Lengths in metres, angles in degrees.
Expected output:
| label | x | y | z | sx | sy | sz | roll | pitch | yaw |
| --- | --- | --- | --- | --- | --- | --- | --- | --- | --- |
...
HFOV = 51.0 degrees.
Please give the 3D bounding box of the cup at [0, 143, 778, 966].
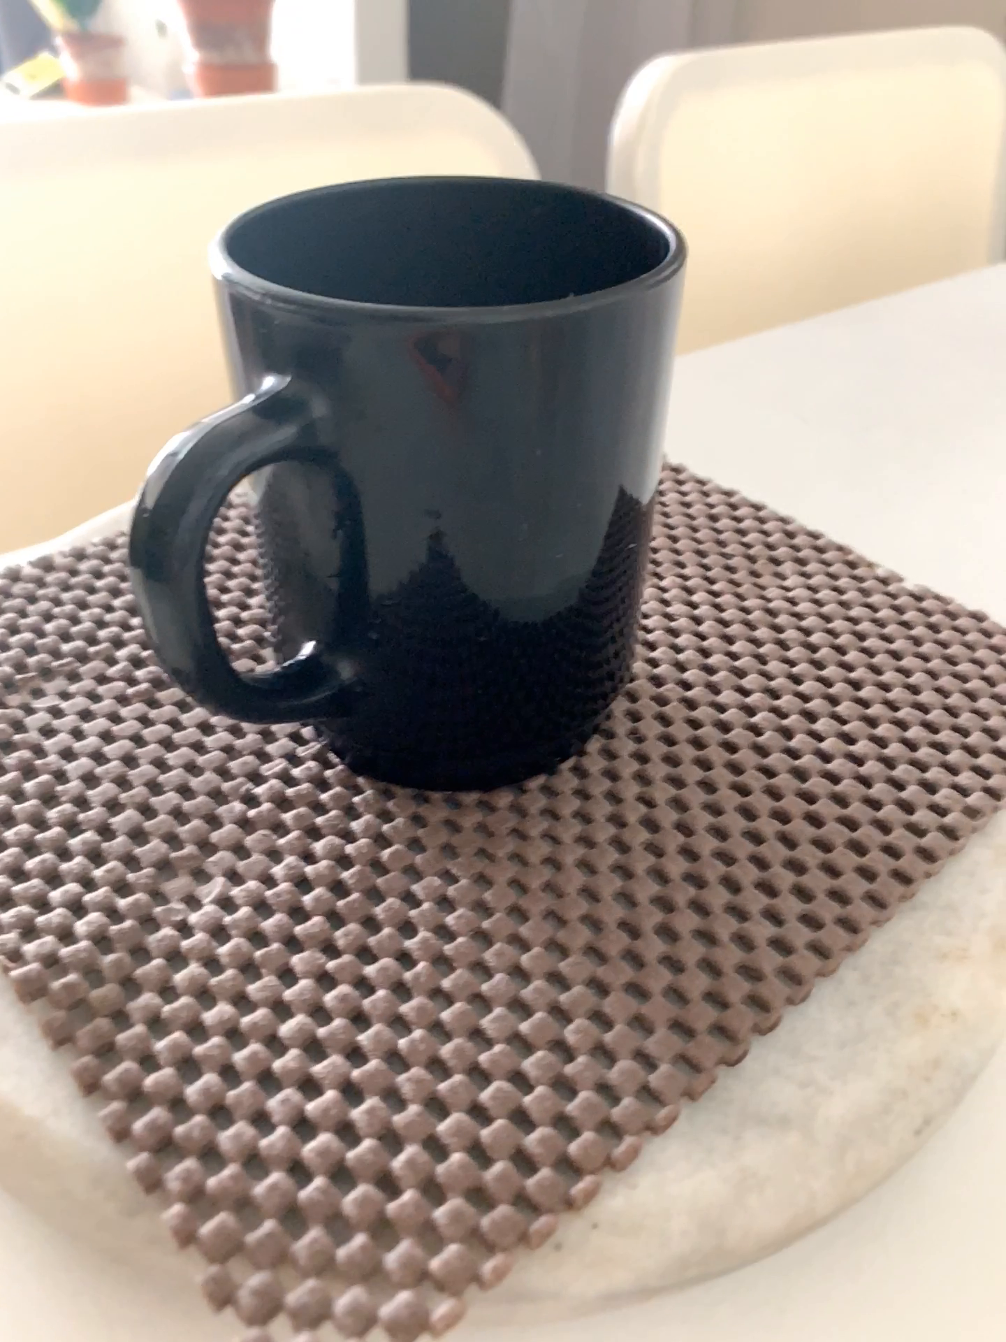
| label | x | y | z | sx | sy | sz | roll | pitch | yaw |
| --- | --- | --- | --- | --- | --- | --- | --- | --- | --- |
| cup | -0.014 | -0.029 | 0.172 | 0.076 | 0.080 | 0.101 | 19 | 41 | 22 |
